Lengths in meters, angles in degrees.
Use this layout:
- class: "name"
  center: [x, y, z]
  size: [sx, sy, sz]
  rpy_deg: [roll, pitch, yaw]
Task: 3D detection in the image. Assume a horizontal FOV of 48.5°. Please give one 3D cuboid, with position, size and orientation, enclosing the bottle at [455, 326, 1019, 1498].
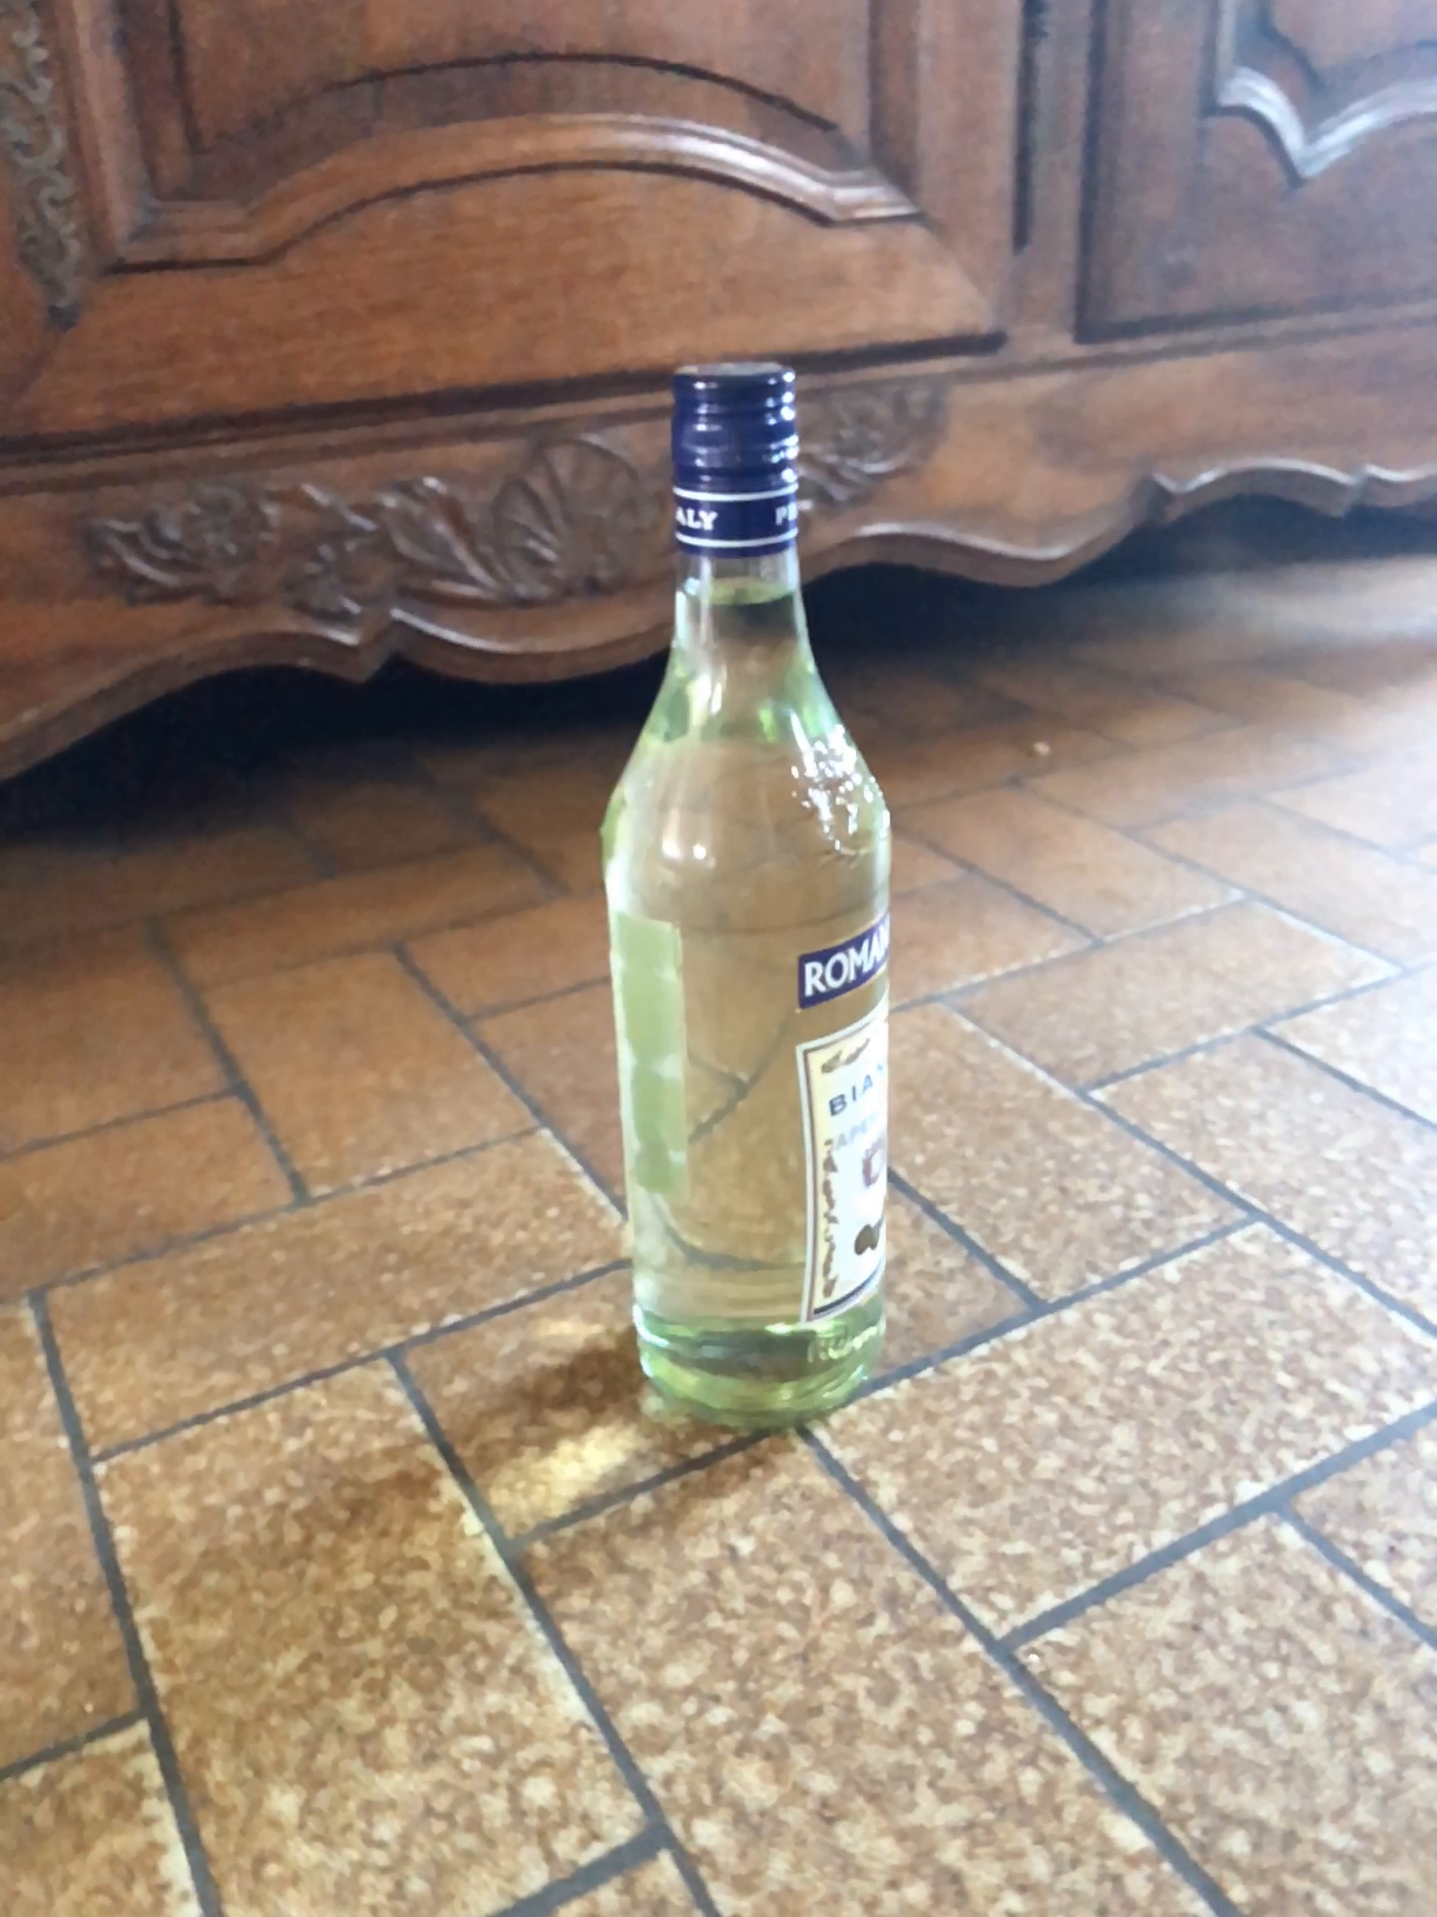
- class: "bottle"
  center: [0.013, -0.011, 0.445]
  size: [0.100, 0.298, 0.101]
  rpy_deg: [-2, 26, 1]
